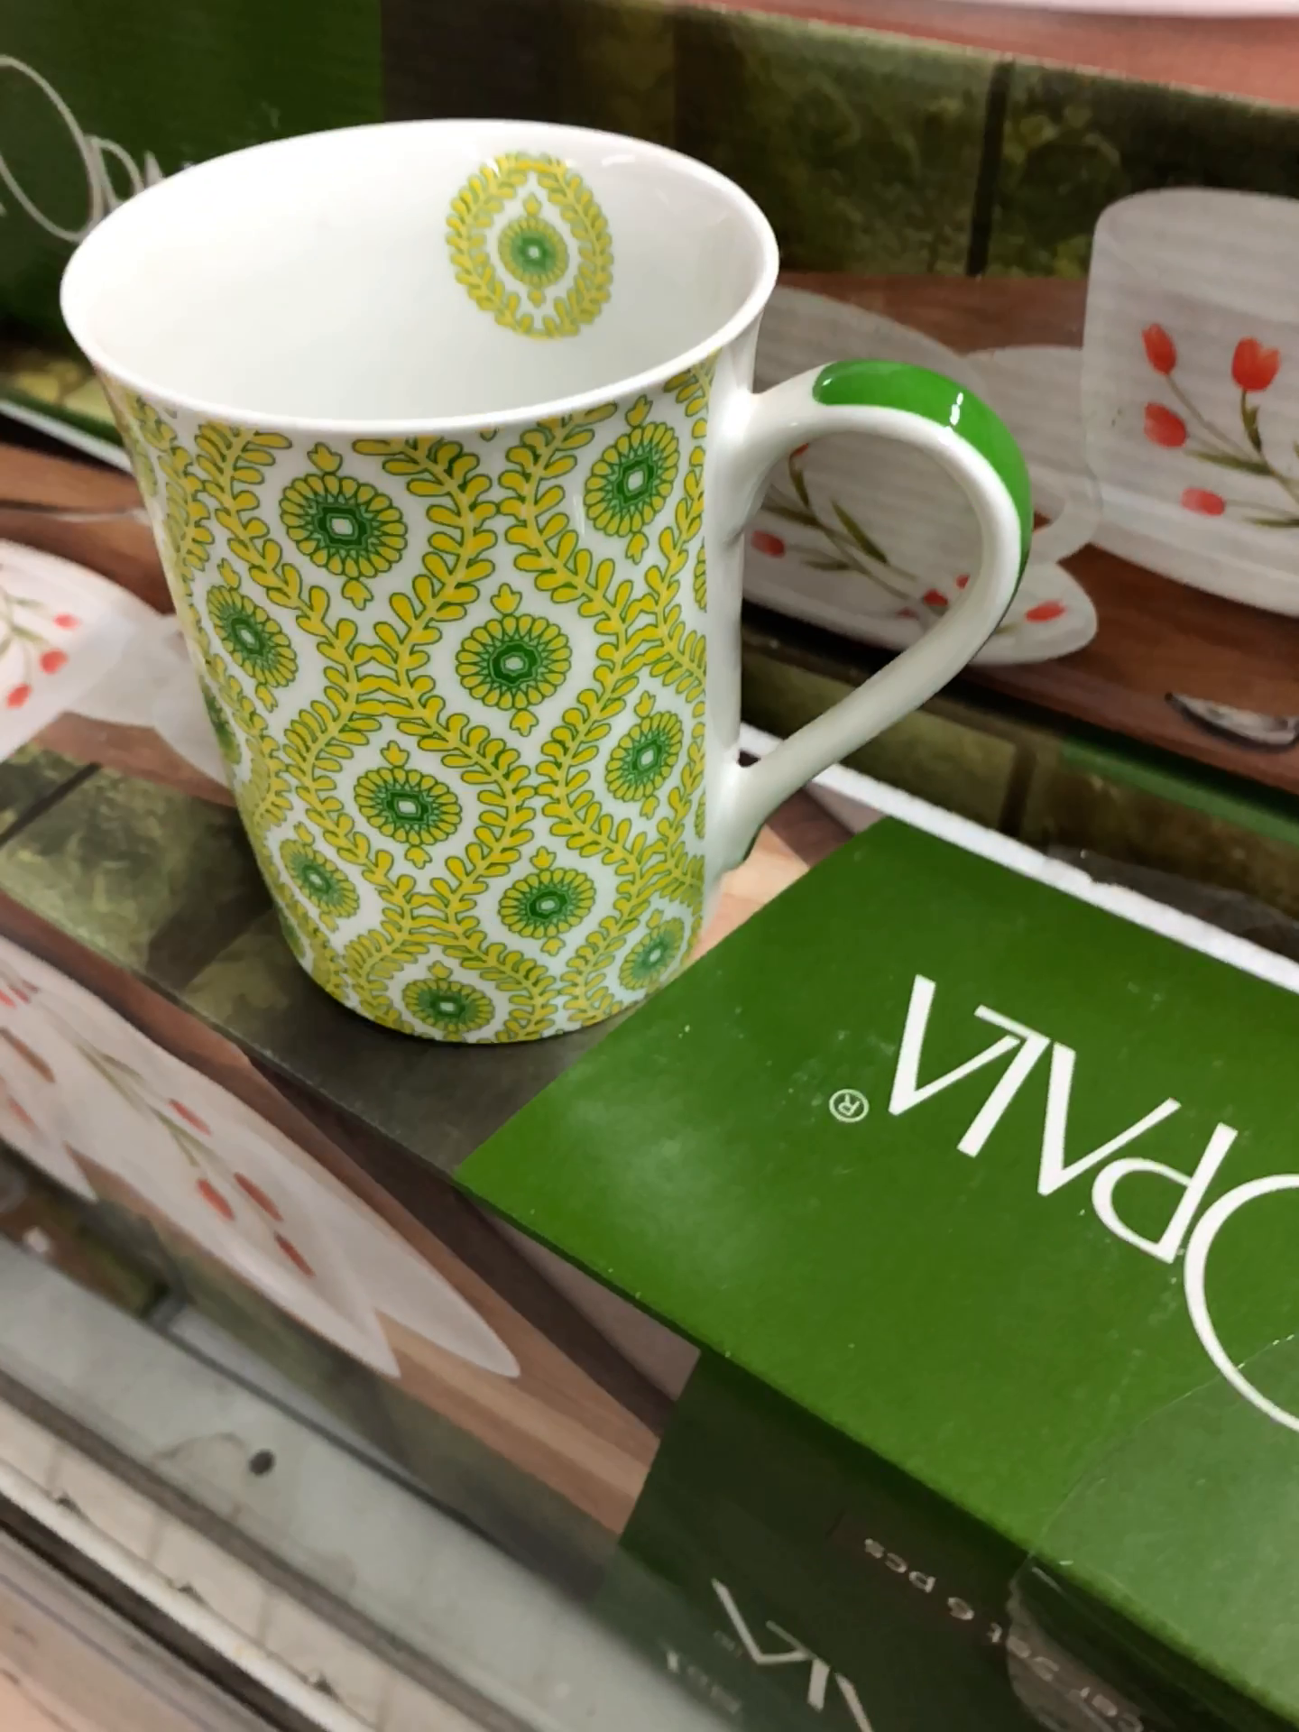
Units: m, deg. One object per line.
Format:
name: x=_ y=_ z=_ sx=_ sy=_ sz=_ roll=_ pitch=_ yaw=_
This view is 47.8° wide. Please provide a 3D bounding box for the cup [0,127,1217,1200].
cup: x=-0.008 y=-0.025 z=0.174 sx=0.110 sy=0.089 sz=0.081 roll=4 pitch=43 yaw=4
